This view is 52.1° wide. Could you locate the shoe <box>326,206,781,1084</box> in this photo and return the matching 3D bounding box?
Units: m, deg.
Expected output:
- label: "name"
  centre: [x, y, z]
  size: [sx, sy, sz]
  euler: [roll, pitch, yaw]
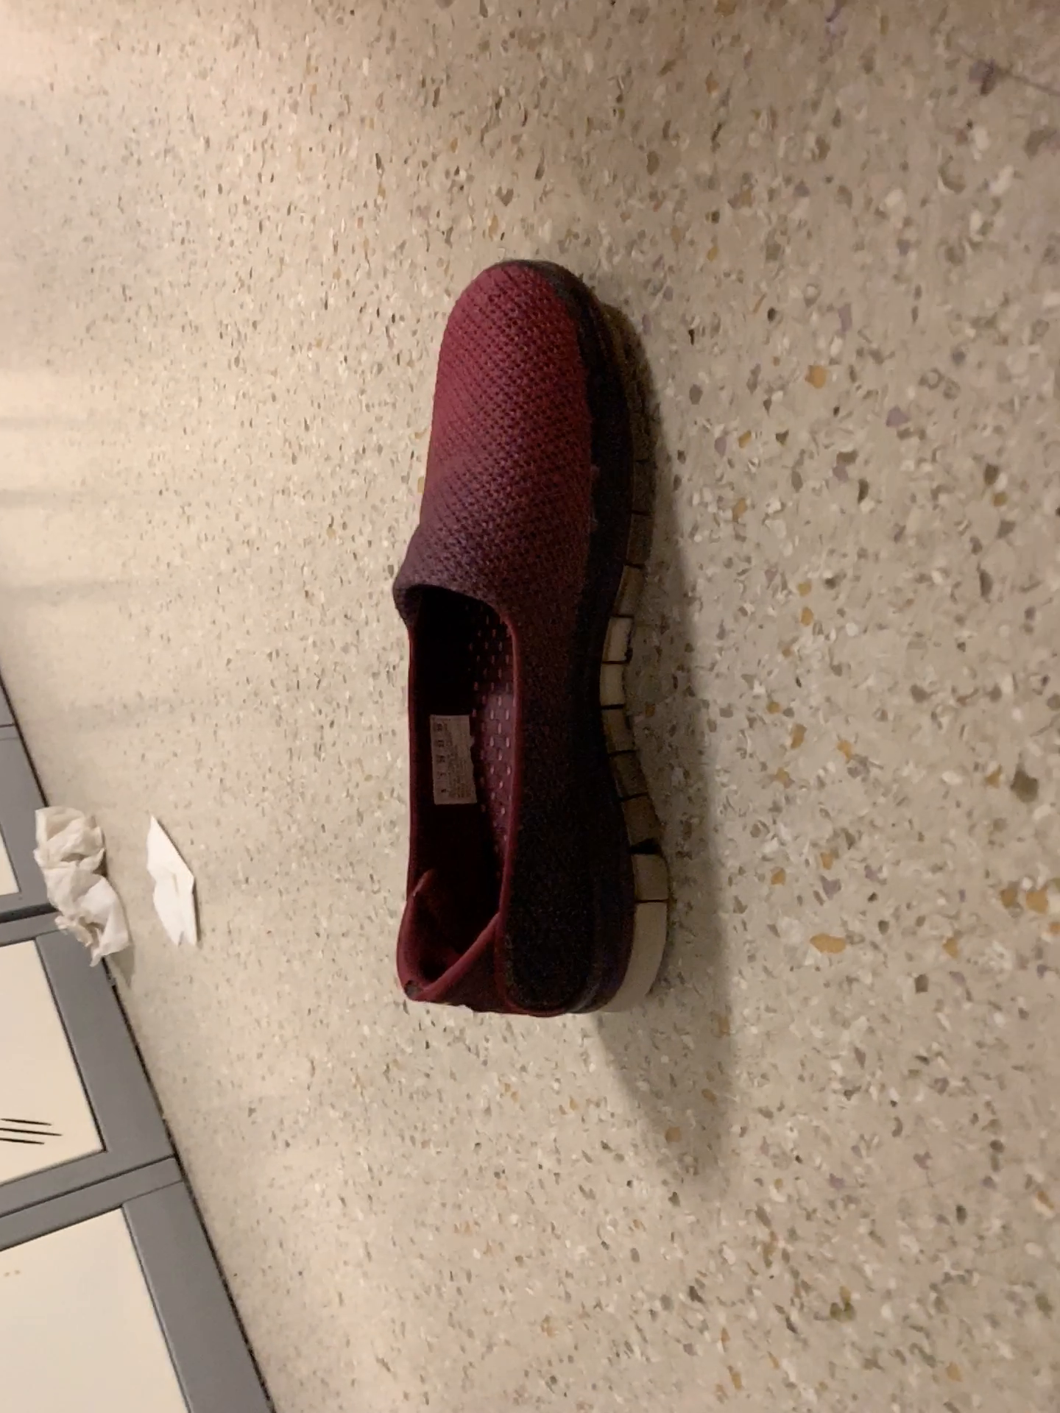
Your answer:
- label: "shoe"
  centre: [0.007, -0.019, 0.346]
  size: [0.092, 0.091, 0.229]
  euler: [2, 98, 56]
